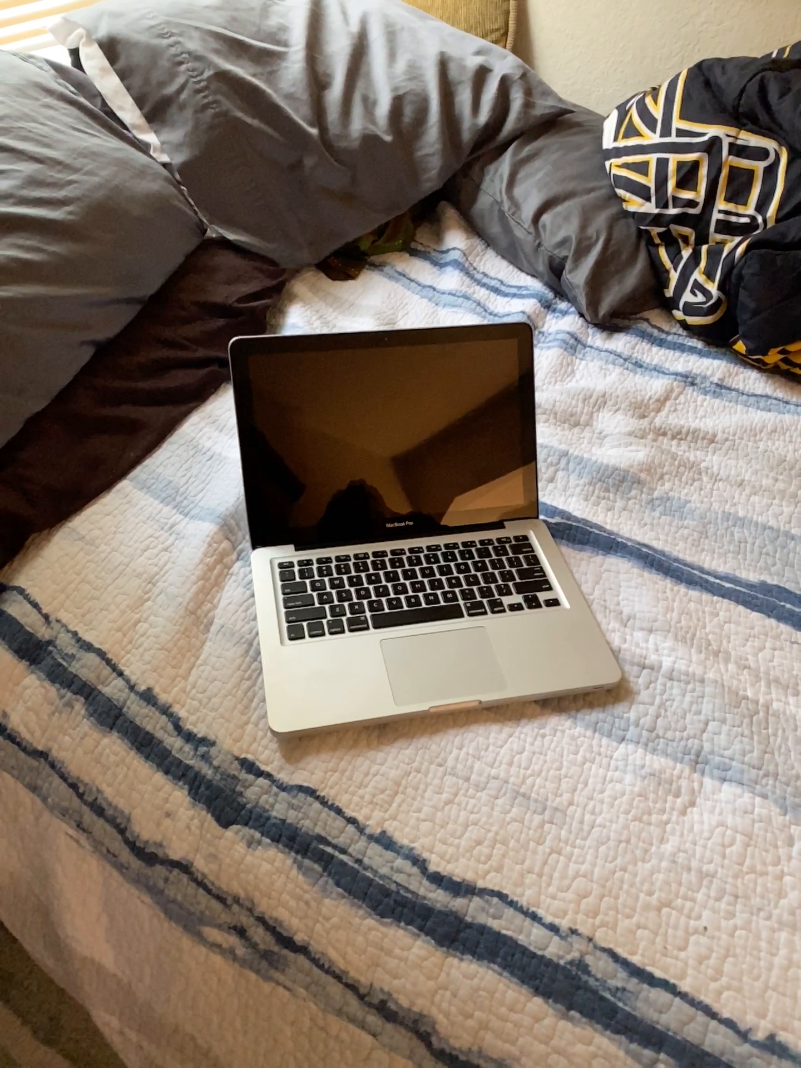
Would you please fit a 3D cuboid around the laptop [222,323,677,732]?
[{"bbox_3d":[0.015,-0.030,0.775,0.320,0.165,0.347,-6,45,-12],"label":"laptop"}]
